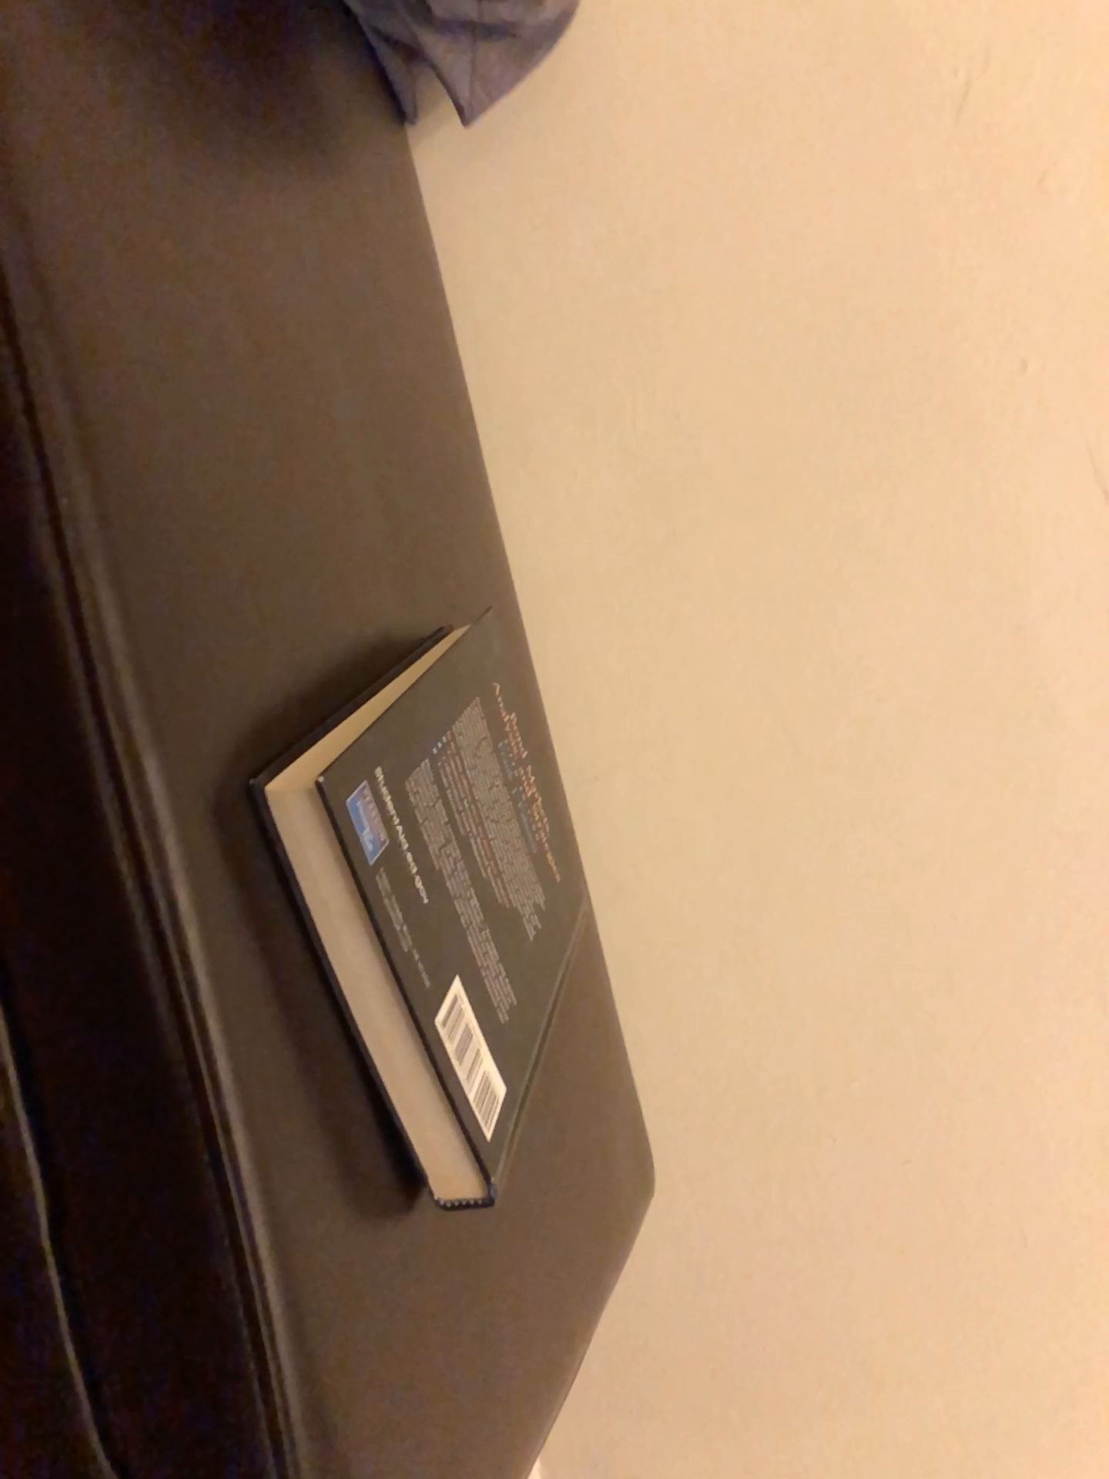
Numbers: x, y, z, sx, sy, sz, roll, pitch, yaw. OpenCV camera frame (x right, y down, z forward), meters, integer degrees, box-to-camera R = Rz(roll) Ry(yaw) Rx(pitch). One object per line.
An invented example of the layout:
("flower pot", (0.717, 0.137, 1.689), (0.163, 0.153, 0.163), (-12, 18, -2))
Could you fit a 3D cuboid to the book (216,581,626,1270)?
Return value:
("book", (-0.036, 0.058, 0.544), (0.261, 0.040, 0.200), (-59, 133, -67))
